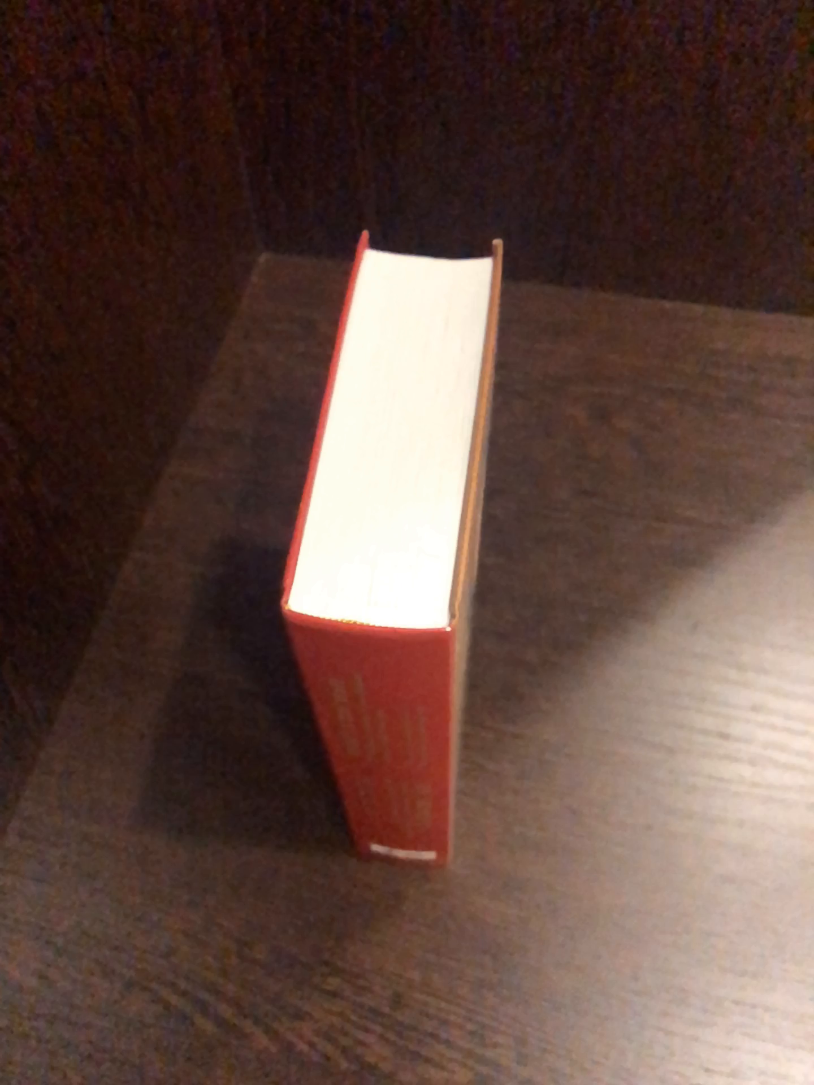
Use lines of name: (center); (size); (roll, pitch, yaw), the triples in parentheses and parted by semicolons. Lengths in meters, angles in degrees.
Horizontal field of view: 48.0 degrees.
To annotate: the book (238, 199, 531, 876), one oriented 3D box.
book: (-0.001, 0.015, 0.311); (0.054, 0.201, 0.137); (6, 57, 3)
